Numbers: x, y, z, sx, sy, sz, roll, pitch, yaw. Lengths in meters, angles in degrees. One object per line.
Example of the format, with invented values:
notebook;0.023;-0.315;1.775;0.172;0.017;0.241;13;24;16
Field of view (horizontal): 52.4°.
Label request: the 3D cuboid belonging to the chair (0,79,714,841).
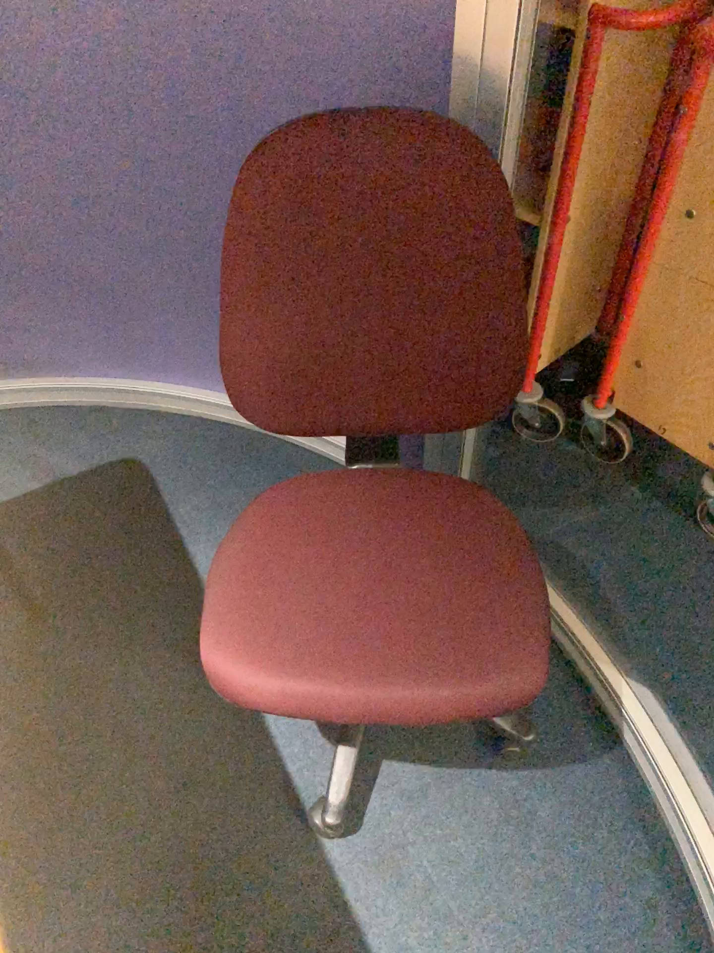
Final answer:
chair;0.016;-0.026;1.115;0.580;0.773;0.858;-2;48;0
